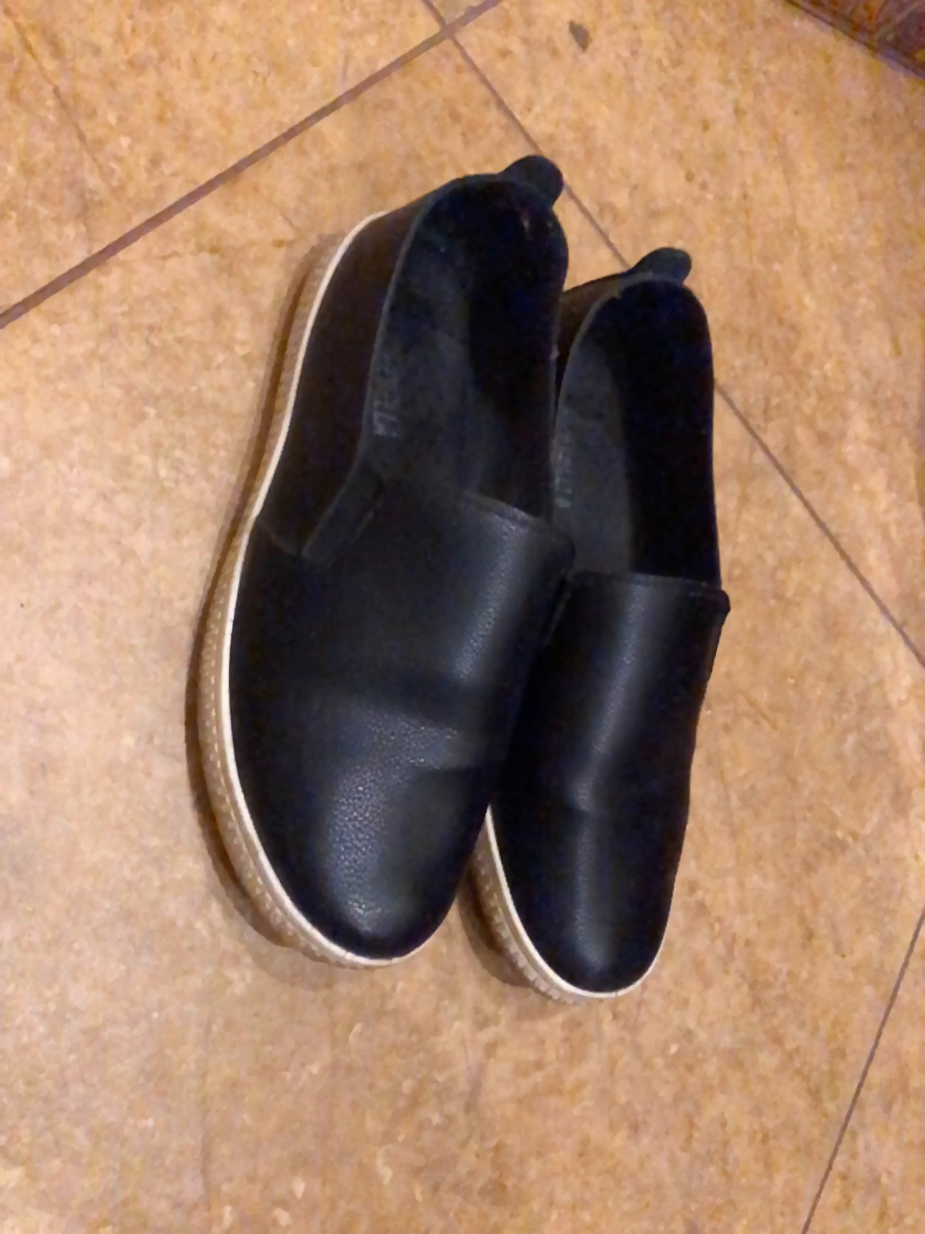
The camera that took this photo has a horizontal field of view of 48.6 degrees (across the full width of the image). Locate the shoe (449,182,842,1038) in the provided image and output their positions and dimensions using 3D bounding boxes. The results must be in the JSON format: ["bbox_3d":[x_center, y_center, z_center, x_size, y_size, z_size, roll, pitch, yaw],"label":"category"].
[{"bbox_3d":[0.054,-0.001,0.331,0.090,0.070,0.240,9,73,-32],"label":"shoe"}]

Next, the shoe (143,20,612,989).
[{"bbox_3d":[-0.017,-0.026,0.288,0.090,0.070,0.240,13,71,-31],"label":"shoe"}]
